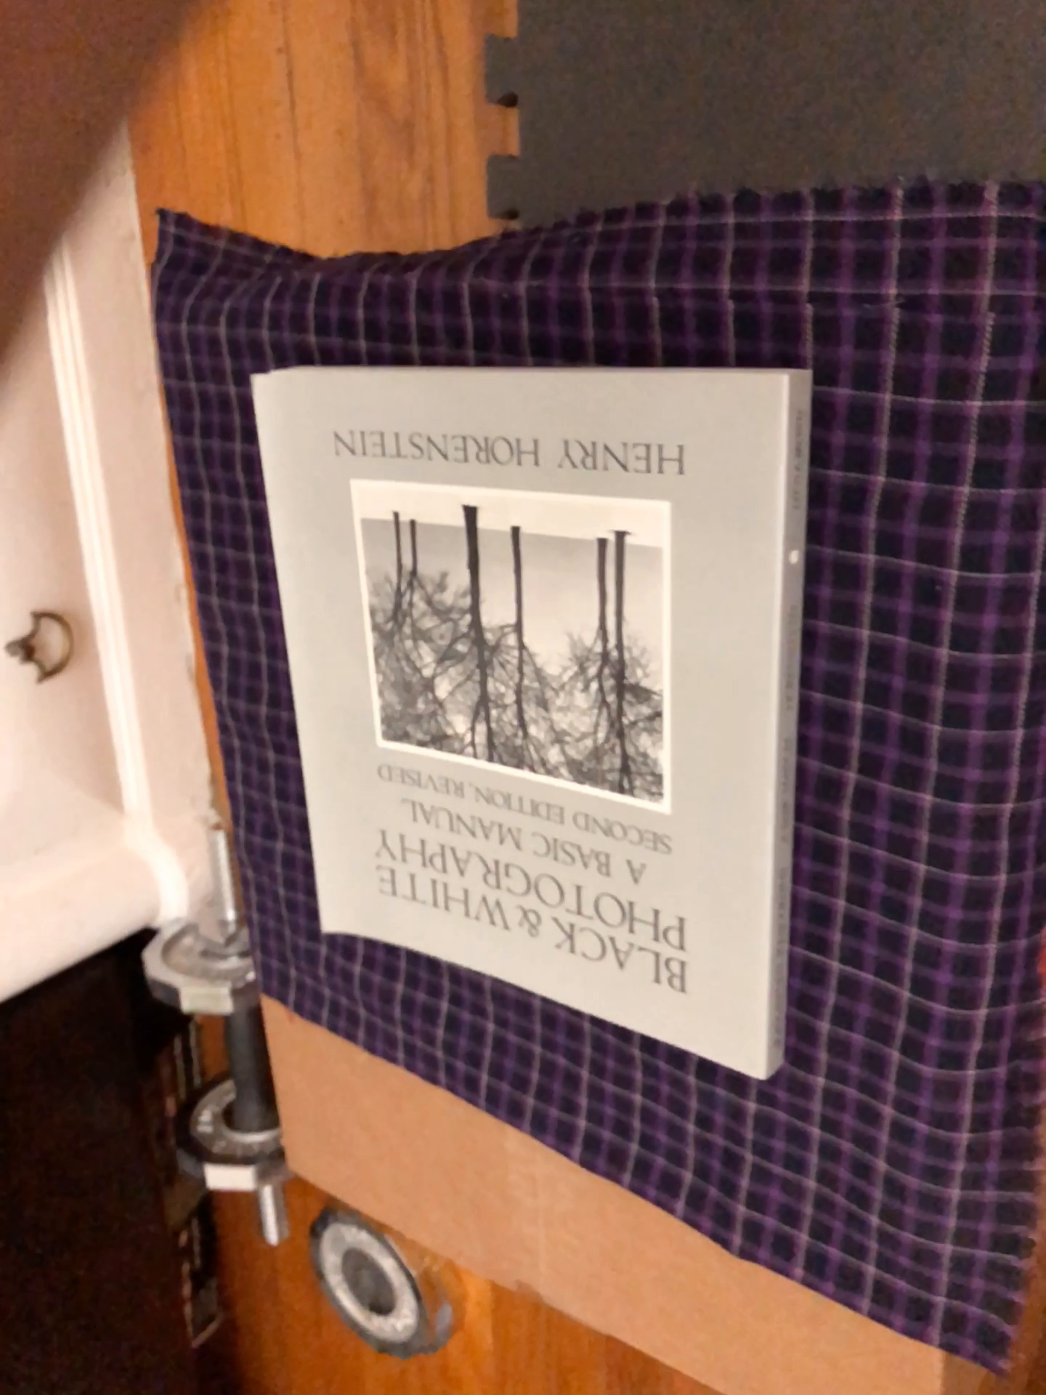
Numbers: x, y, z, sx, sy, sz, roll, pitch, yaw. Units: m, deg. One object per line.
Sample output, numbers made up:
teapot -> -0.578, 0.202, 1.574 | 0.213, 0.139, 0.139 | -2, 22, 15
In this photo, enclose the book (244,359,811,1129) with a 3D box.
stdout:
book -> -0.005, 0.008, 0.426 | 0.210, 0.030, 0.250 | 11, 113, 34
